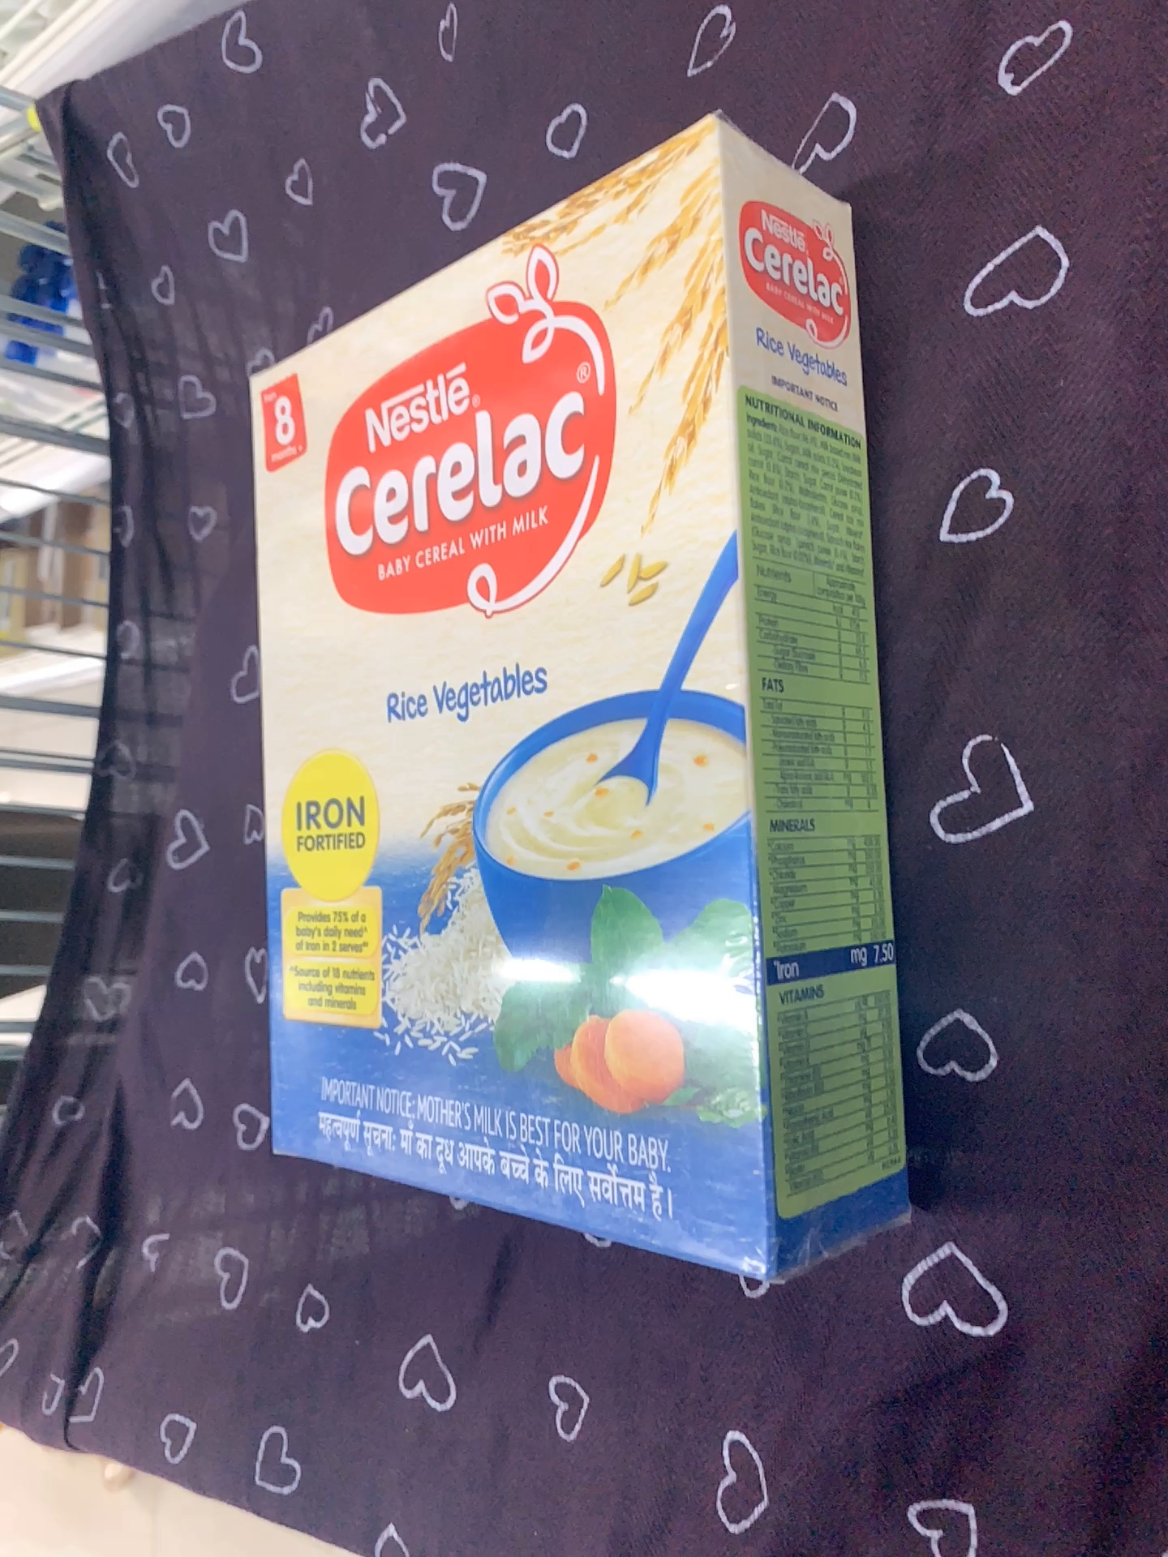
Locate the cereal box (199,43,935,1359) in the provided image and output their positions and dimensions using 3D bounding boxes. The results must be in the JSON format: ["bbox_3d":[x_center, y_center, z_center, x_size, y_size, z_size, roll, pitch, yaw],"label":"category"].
[{"bbox_3d":[-0.016,-0.008,0.243,0.151,0.050,0.190,-6,83,43],"label":"cereal box"}]
